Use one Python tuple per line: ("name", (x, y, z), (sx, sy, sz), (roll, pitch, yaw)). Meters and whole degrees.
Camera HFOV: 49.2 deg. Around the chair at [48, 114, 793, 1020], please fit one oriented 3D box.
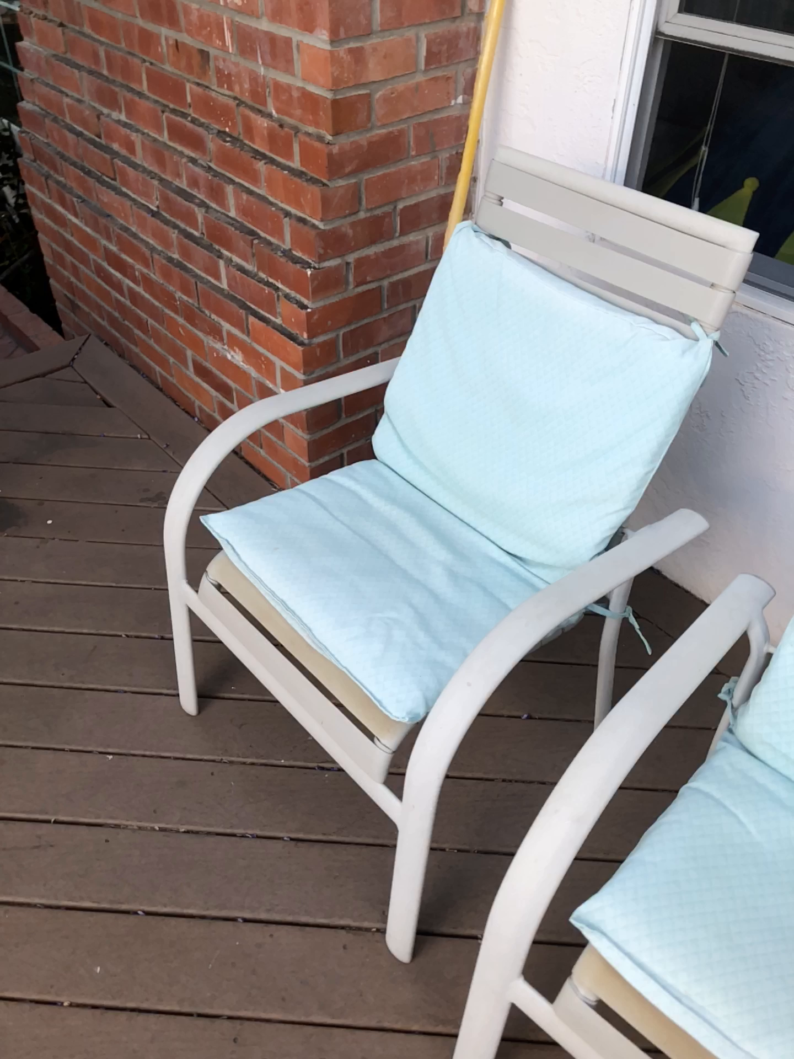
("chair", (0.153, -0.003, 1.488), (0.973, 0.994, 0.742), (-31, 50, -31))
